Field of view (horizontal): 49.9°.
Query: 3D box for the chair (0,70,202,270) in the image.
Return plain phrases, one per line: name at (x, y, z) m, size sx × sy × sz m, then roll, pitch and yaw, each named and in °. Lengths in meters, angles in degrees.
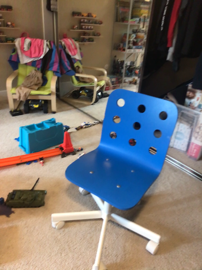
chair at (0.042, 0.210, 1.057) m, size 0.620 × 0.814 × 0.675 m, roll 24°, pitch 33°, yaw 27°
